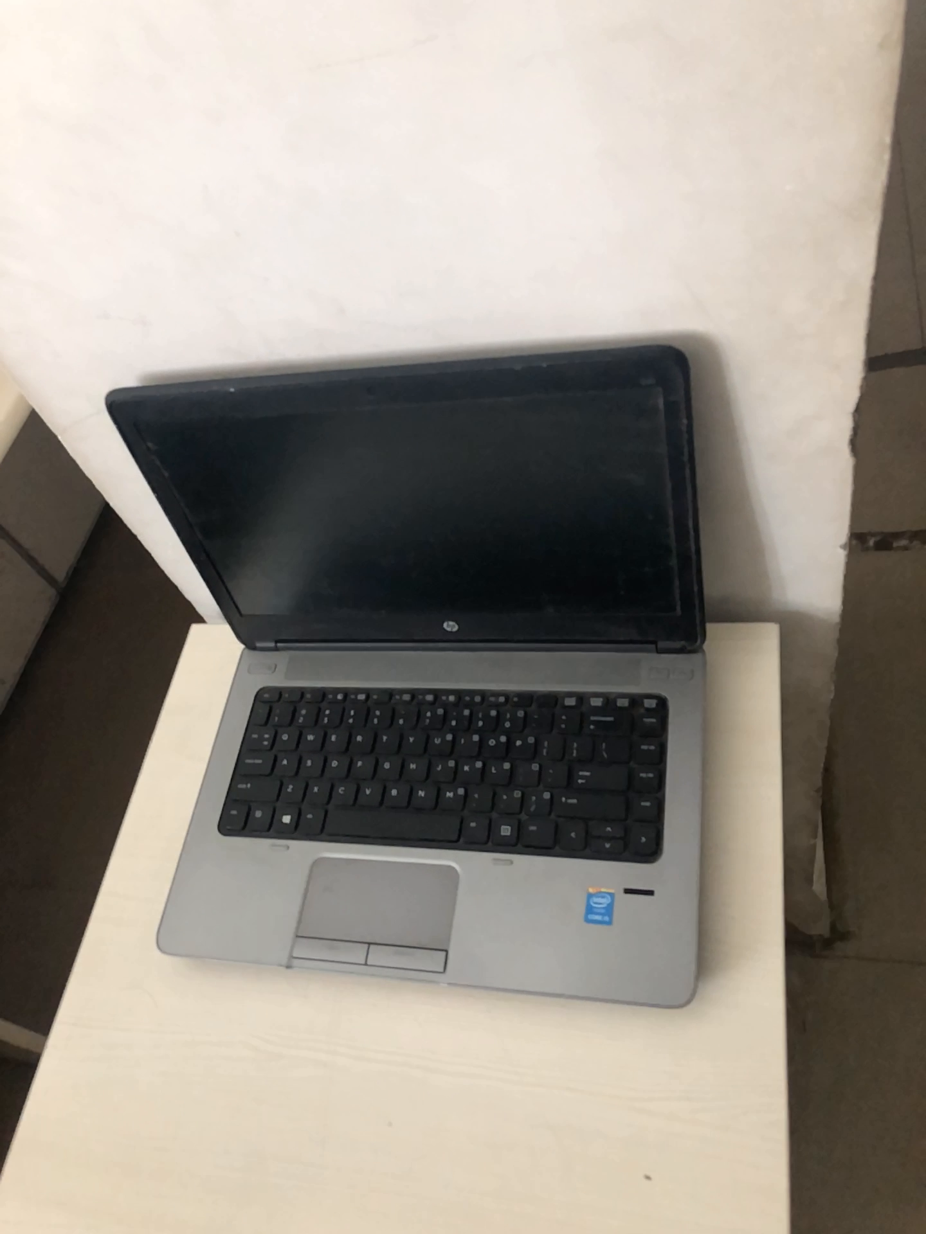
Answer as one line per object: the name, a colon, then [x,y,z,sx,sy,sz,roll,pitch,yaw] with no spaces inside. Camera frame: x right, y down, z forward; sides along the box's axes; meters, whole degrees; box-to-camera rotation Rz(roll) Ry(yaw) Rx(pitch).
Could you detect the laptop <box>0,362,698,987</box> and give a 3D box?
laptop: [-0.042,0.036,0.546,0.304,0.209,0.238,0,57,16]
